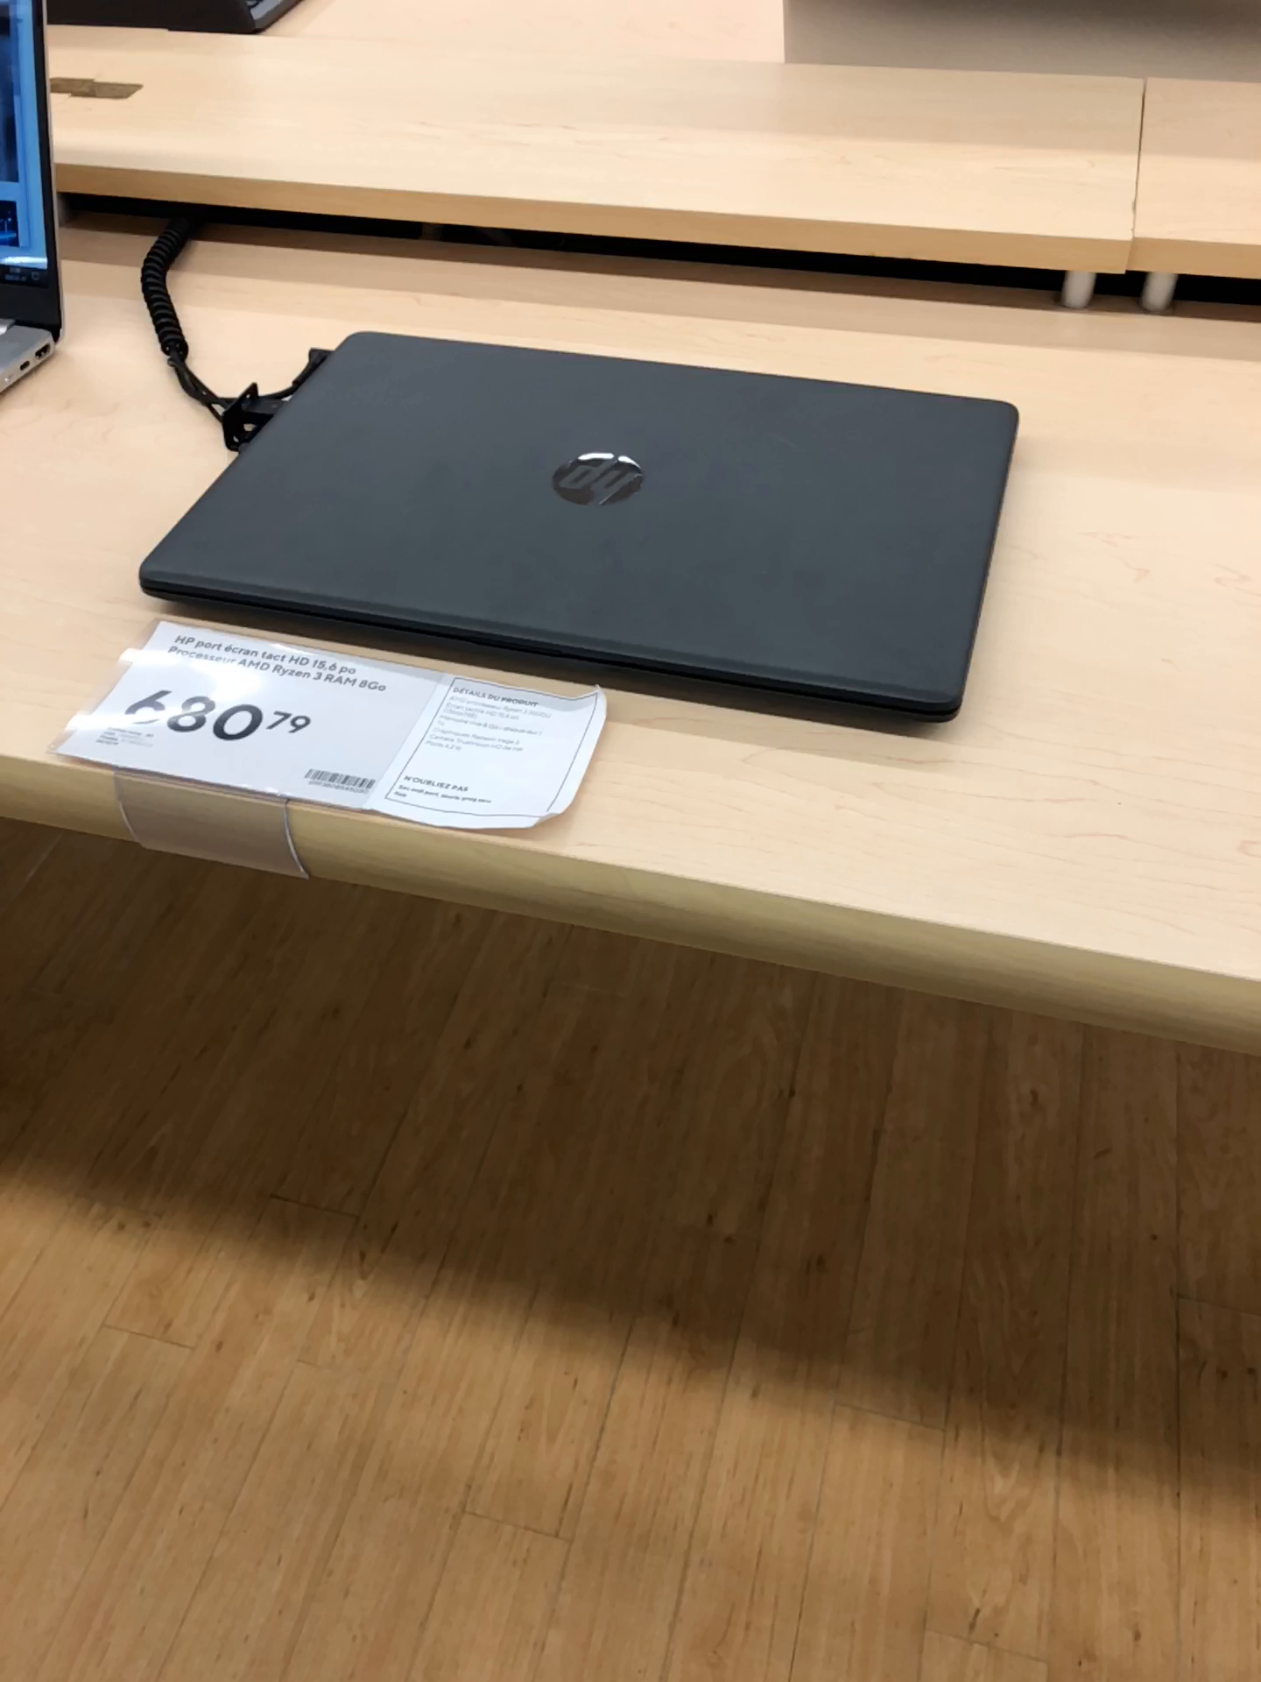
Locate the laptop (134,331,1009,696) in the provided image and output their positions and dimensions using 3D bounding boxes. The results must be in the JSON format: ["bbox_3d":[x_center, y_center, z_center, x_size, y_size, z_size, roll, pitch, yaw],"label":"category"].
[{"bbox_3d":[-0.016,-0.178,0.690,0.374,0.005,0.245,11,47,13],"label":"laptop"}]
